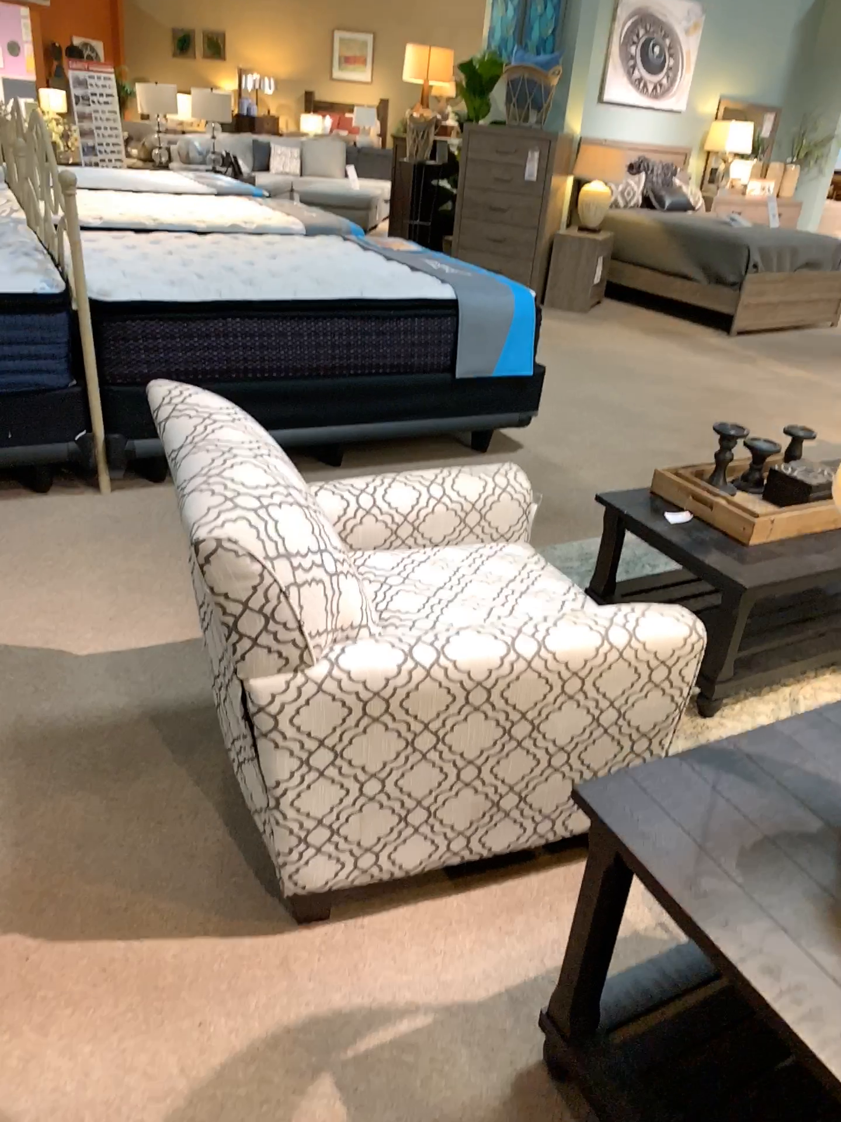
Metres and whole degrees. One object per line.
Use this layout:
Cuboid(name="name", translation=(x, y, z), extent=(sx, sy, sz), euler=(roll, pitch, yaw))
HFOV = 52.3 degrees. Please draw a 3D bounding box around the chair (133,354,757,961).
Cuboid(name="chair", translation=(-0.059, 0.090, 1.860), extent=(0.964, 0.846, 0.879), euler=(-5, 29, -21))
